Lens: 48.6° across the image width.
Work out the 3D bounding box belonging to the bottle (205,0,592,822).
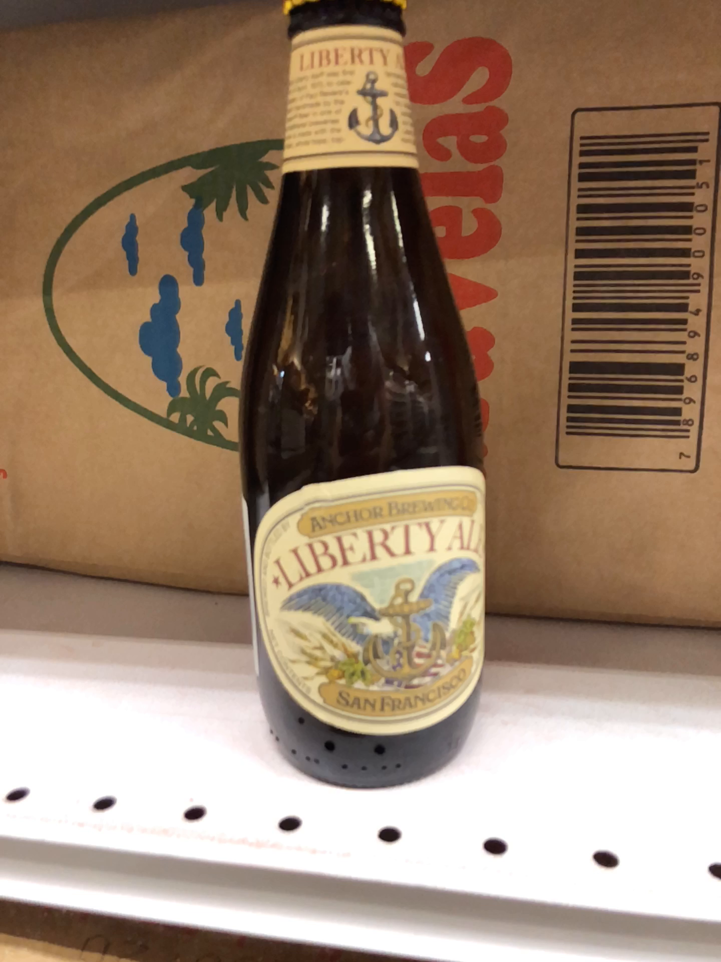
[{"bbox_3d":[0.005,-0.024,0.203,0.070,0.189,0.070,-2,15,0],"label":"bottle"}]
